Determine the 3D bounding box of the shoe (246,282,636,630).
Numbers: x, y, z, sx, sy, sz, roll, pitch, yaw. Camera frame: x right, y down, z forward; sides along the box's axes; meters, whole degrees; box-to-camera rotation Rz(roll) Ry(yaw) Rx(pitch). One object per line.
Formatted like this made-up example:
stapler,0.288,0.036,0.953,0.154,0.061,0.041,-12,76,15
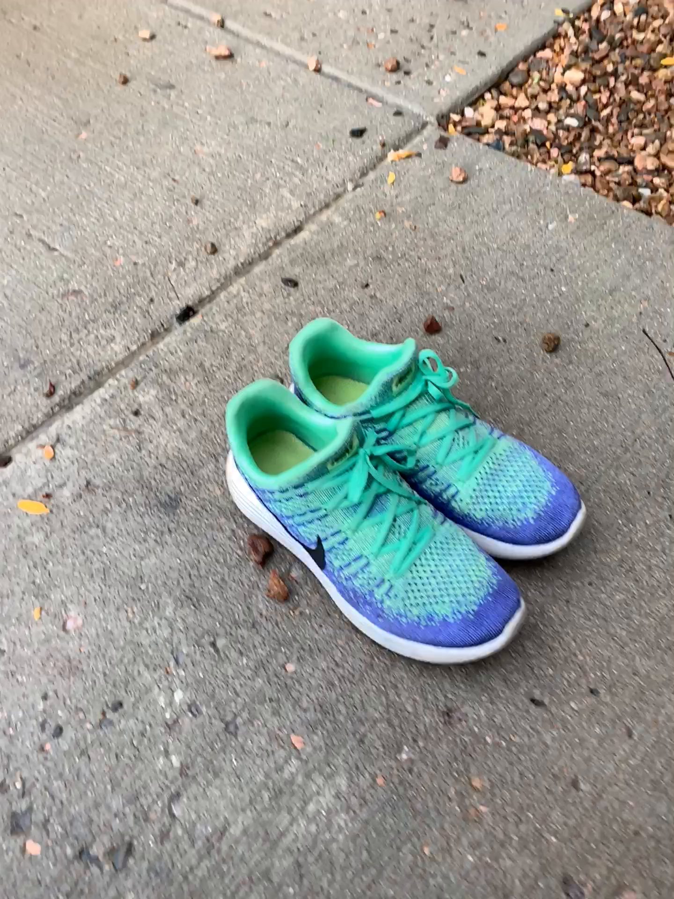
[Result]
shoe,0.074,0.000,0.588,0.290,0.110,0.120,36,65,18

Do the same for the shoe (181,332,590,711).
shoe,0.023,0.047,0.506,0.270,0.110,0.100,36,59,18
